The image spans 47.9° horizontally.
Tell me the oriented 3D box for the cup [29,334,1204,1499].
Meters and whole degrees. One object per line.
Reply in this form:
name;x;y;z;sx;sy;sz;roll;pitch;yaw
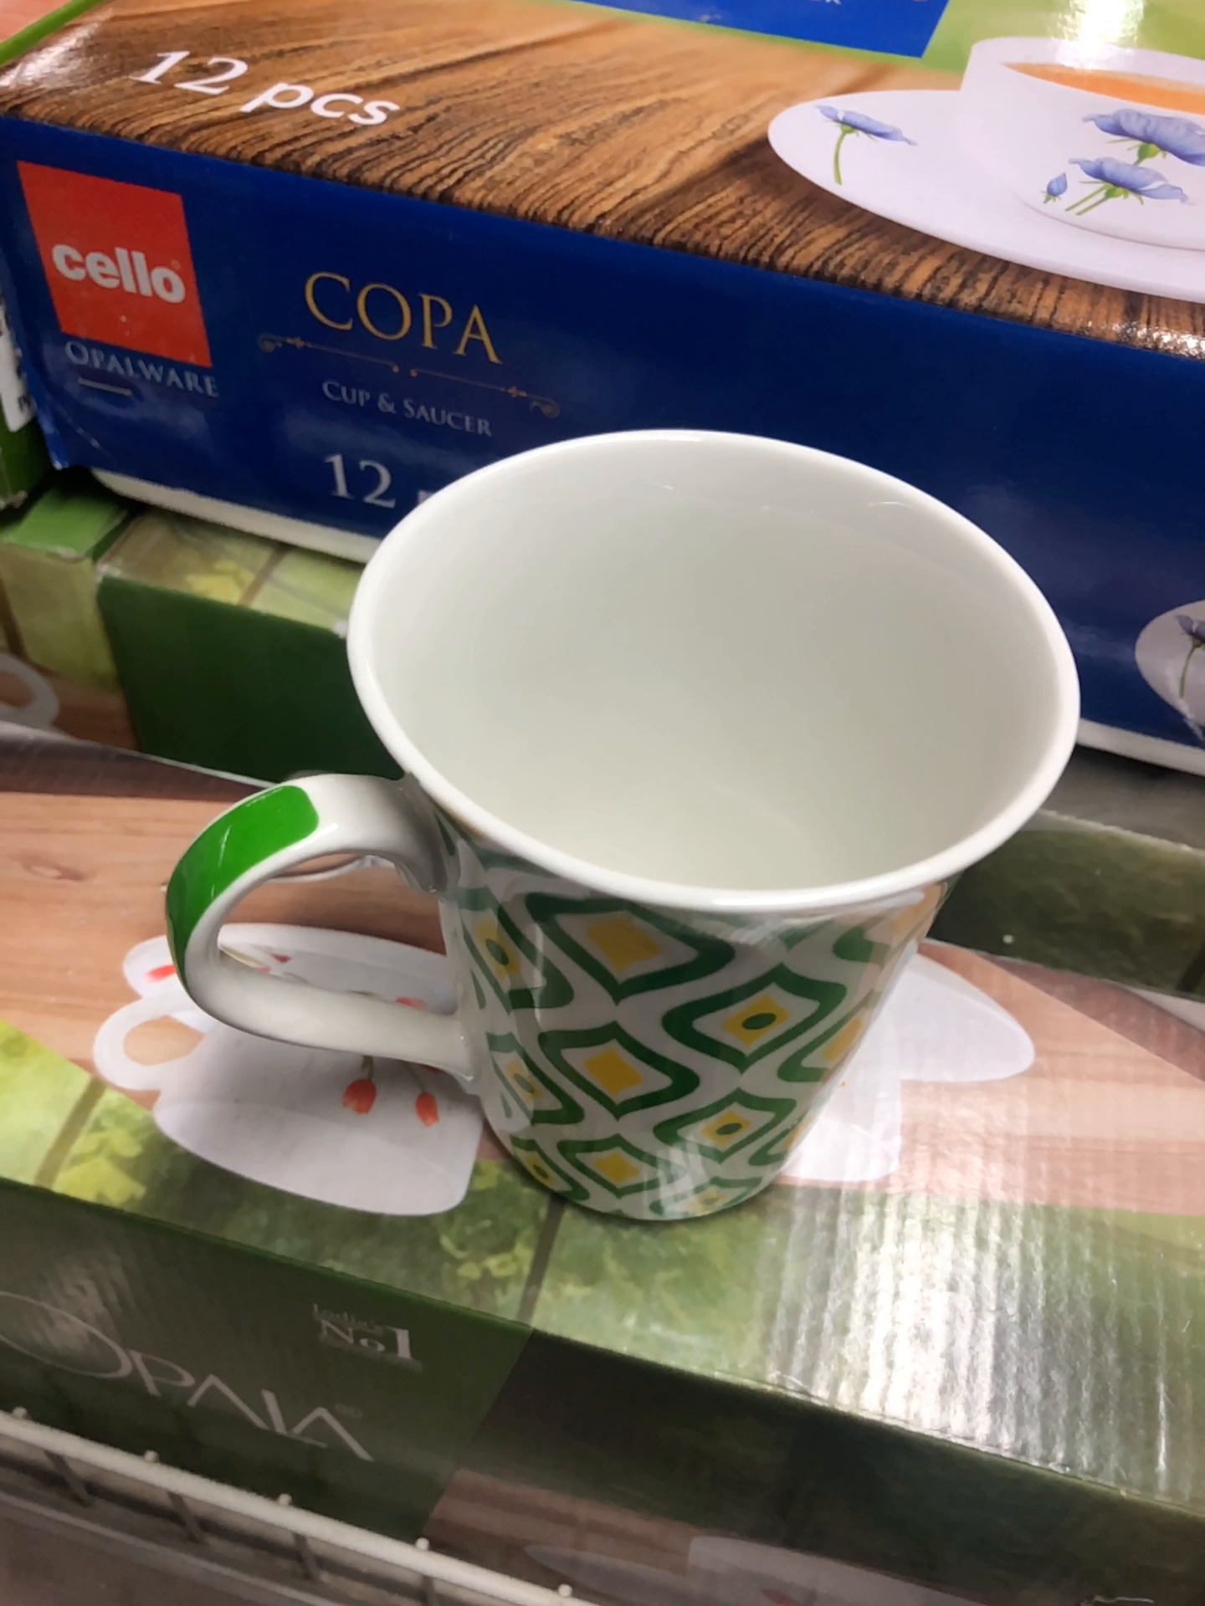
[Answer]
cup;0.004;0.016;0.191;0.120;0.109;0.080;-20;54;-19
